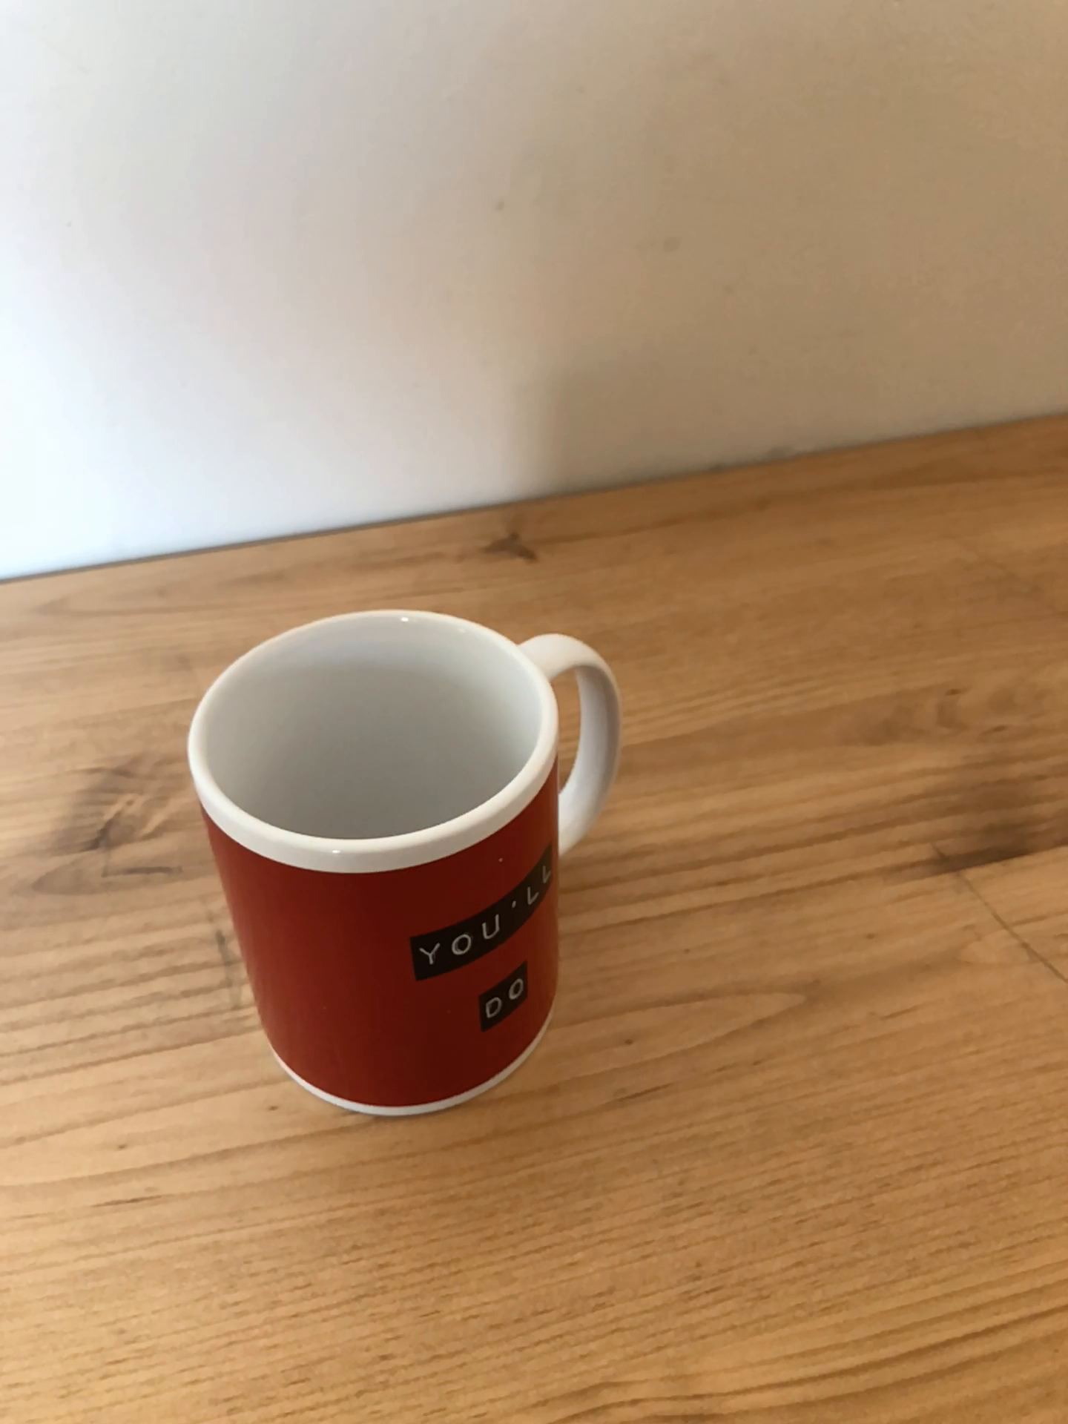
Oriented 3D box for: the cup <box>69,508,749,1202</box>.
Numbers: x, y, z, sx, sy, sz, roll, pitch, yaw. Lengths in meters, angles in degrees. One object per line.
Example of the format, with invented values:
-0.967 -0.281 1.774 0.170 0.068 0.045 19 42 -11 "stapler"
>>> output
-0.024 0.026 0.296 0.091 0.086 0.123 31 50 34 "cup"
